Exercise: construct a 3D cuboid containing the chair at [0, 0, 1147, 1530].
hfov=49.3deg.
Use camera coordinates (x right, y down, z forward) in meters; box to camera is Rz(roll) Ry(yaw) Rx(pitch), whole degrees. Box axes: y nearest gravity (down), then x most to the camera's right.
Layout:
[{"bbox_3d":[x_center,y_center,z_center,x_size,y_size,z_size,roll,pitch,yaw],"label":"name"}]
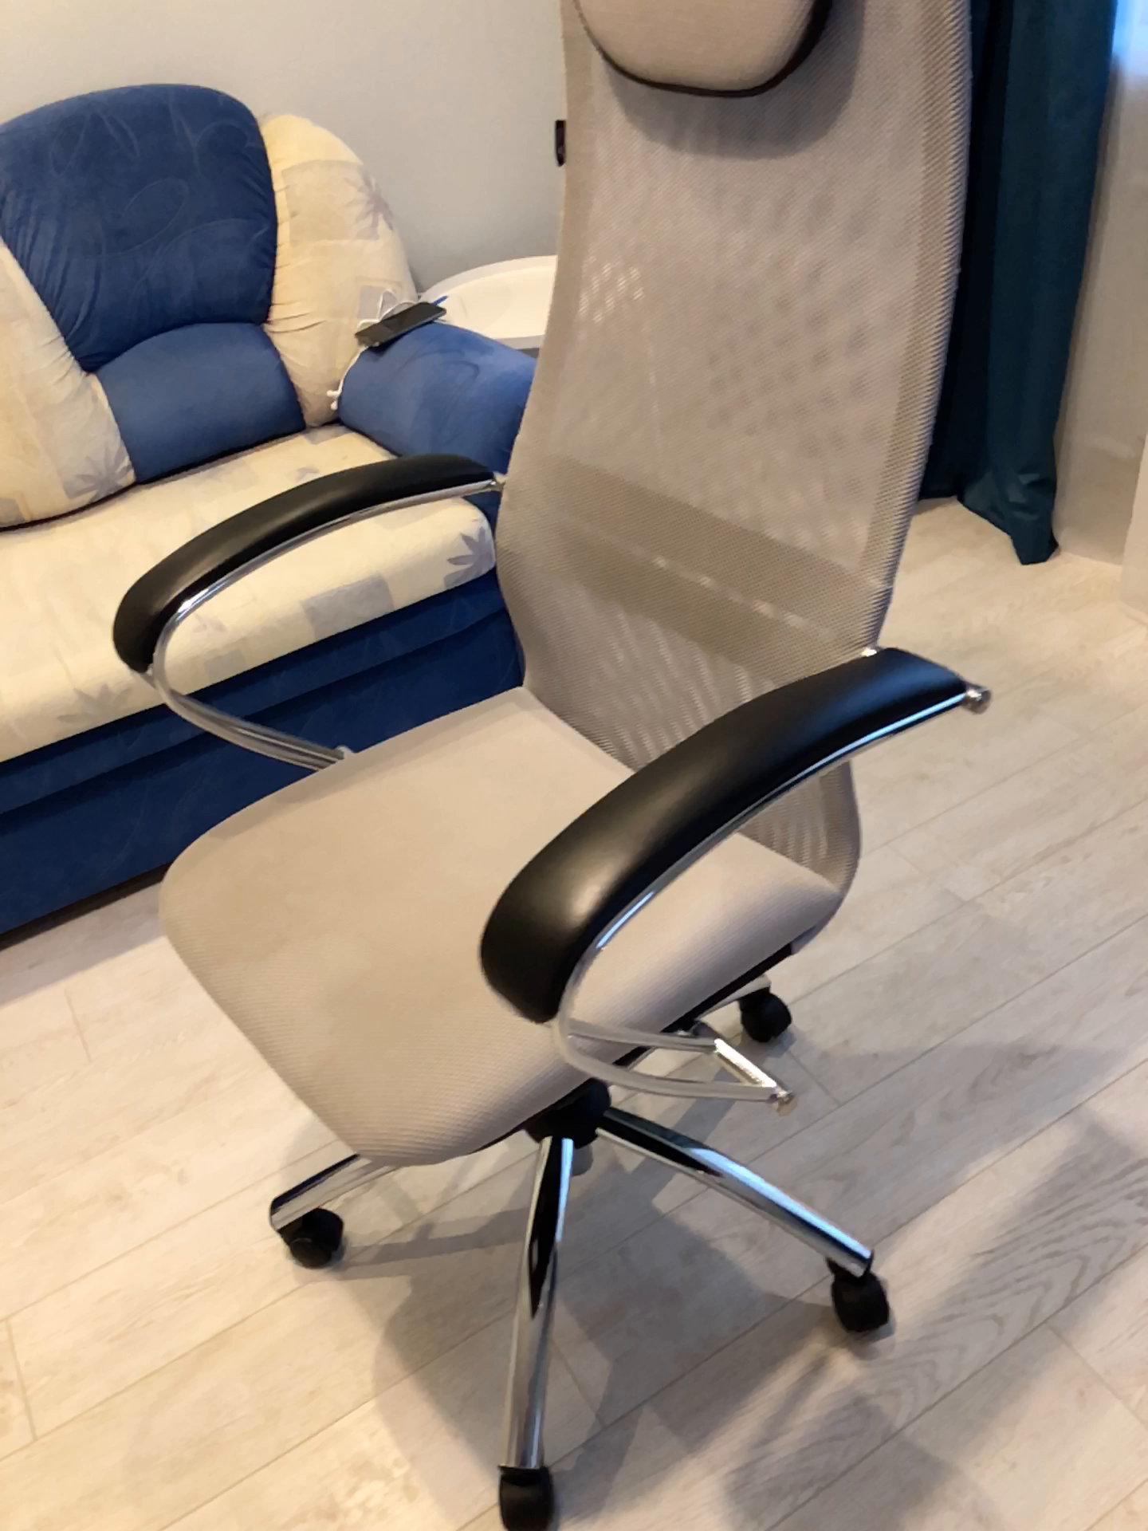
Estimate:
[{"bbox_3d":[-0.051,-0.065,1.008,0.692,1.152,0.683,-26,40,-22],"label":"chair"}]
